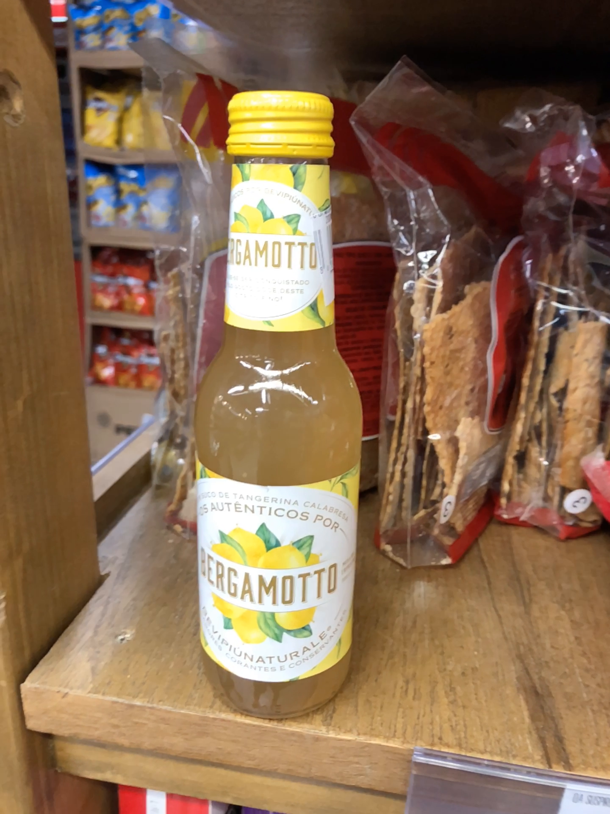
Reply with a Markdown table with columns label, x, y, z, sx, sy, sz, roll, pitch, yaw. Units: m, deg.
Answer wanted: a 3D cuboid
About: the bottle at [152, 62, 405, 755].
| label | x | y | z | sx | sy | sz | roll | pitch | yaw |
| --- | --- | --- | --- | --- | --- | --- | --- | --- | --- |
| bottle | -0.007 | 0.005 | 0.219 | 0.060 | 0.199 | 0.060 | 2 | 18 | -1 |
